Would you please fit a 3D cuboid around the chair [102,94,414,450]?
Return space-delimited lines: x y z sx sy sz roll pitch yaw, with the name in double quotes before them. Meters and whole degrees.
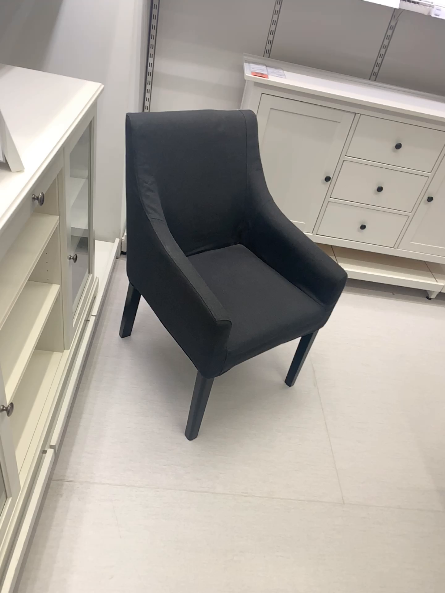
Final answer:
"chair" 0.032 -0.114 1.587 0.661 0.946 0.611 -18 48 -35
